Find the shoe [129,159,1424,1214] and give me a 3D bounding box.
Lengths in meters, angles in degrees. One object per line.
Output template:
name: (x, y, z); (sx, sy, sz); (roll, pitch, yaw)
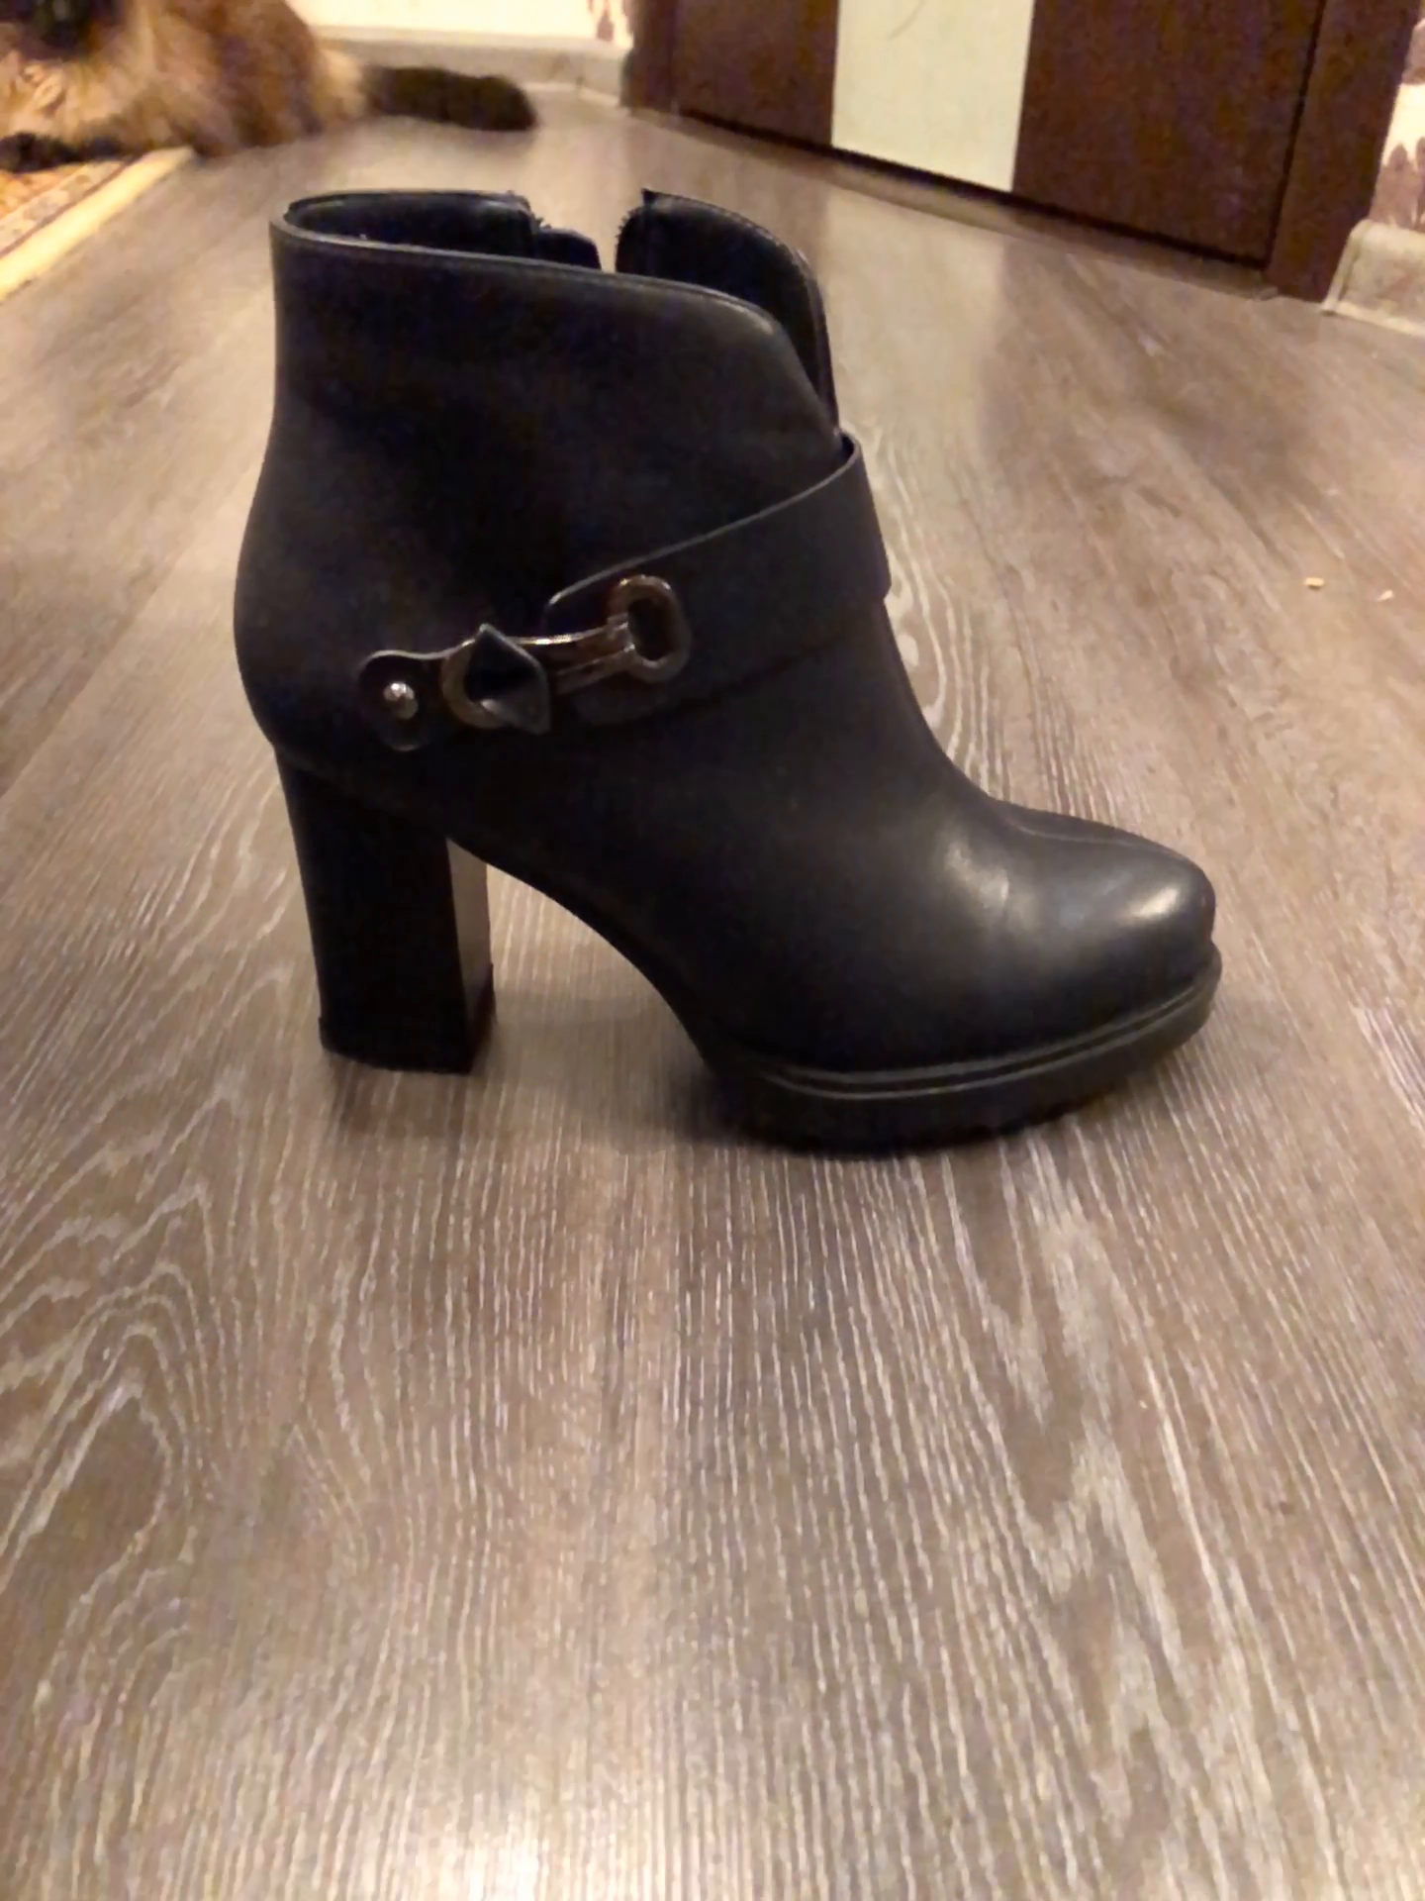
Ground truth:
shoe: (0.017, -0.058, 0.340); (0.220, 0.179, 0.101); (6, 35, 7)
